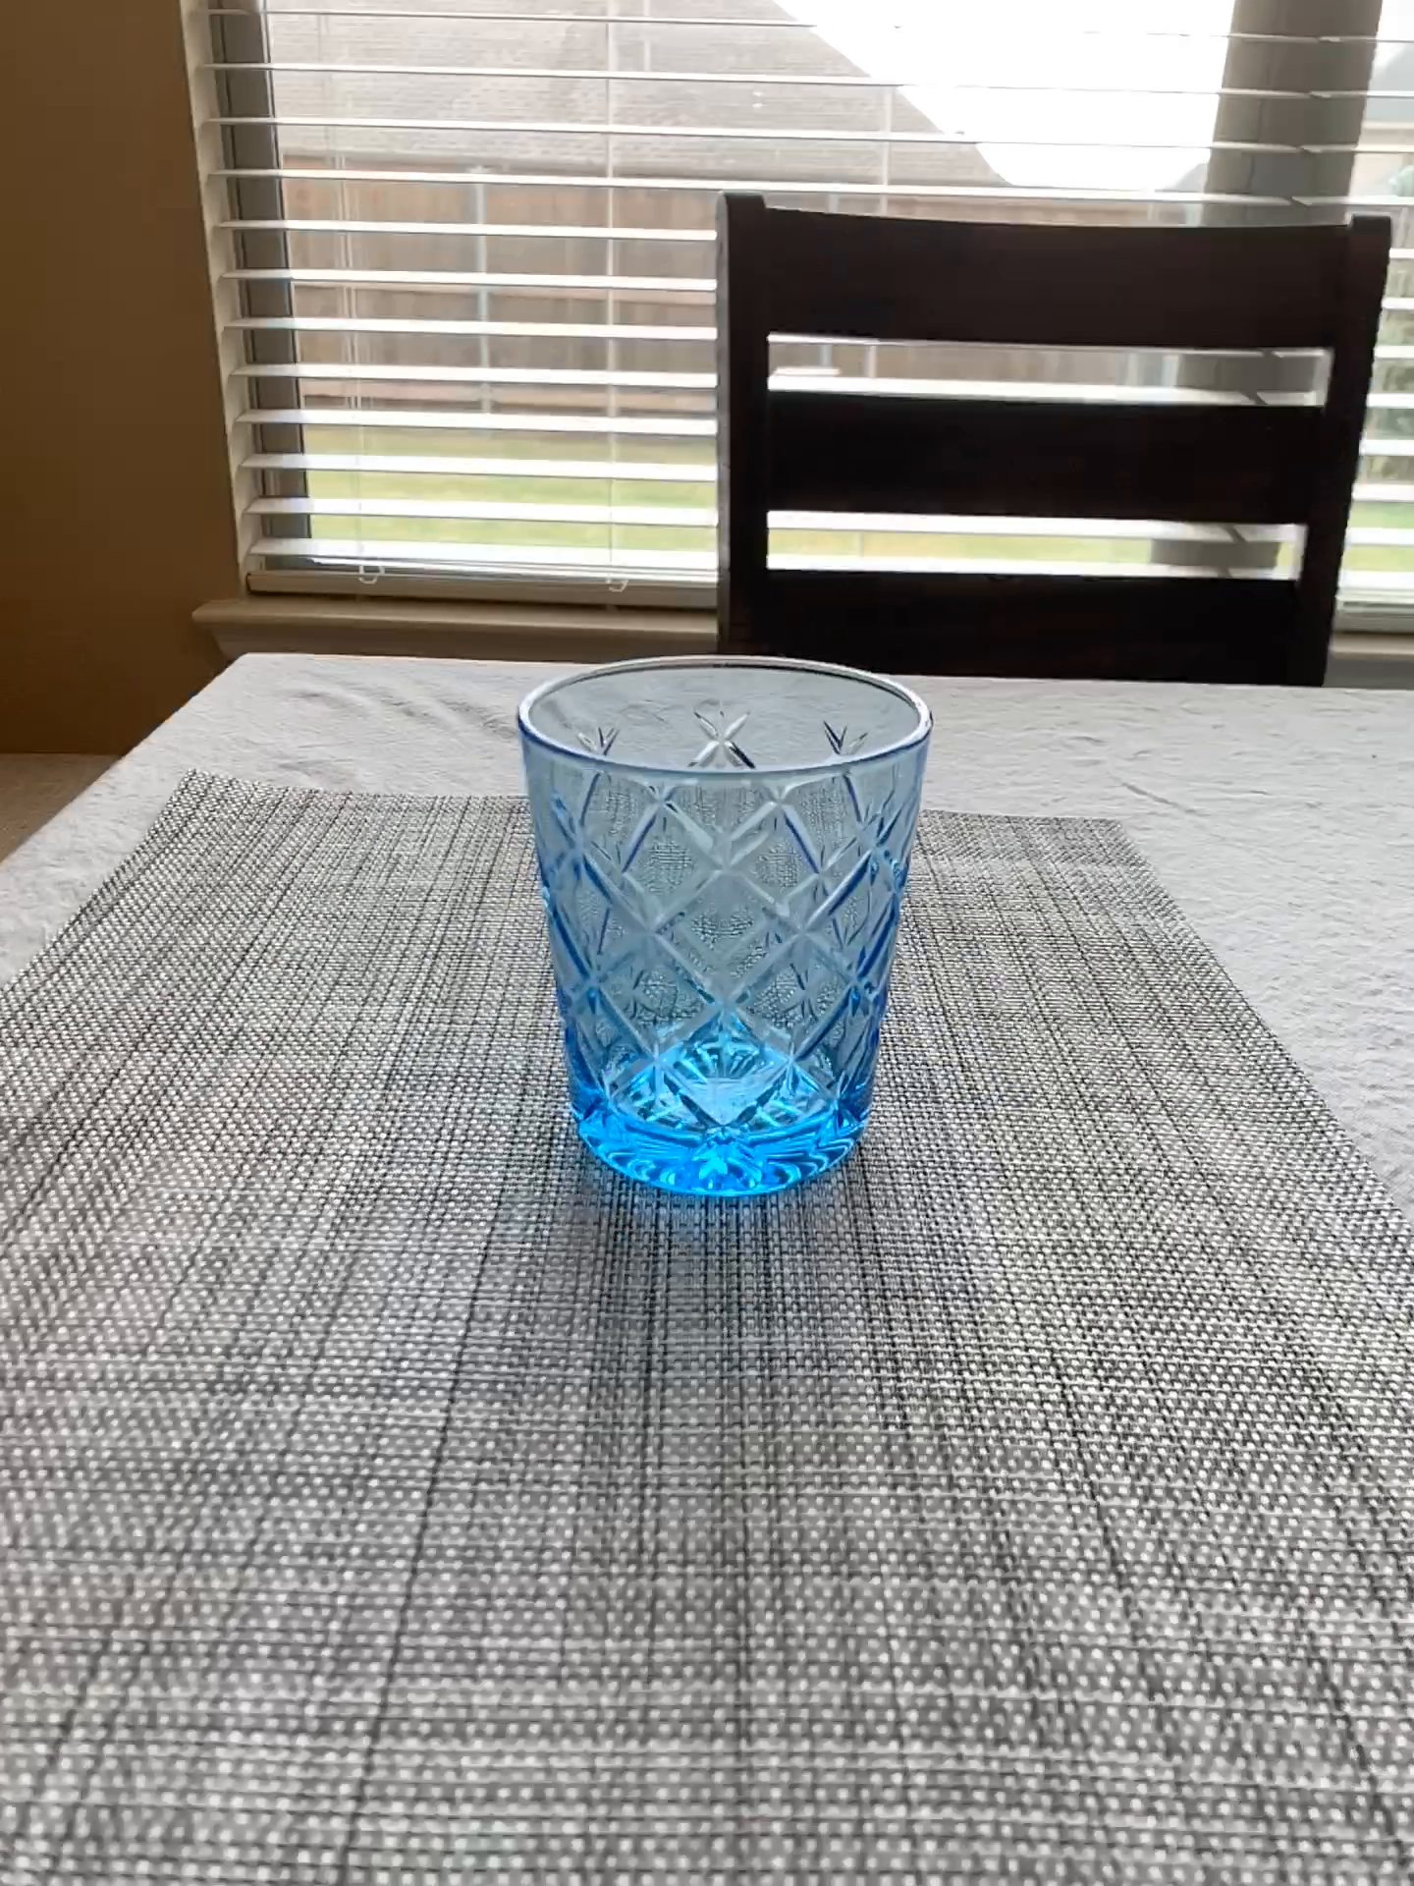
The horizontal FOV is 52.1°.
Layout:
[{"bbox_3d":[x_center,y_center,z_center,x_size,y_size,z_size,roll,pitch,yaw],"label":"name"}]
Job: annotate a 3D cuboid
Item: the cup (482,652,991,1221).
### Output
[{"bbox_3d":[0.006,-0.007,0.308,0.087,0.085,0.093,1,25,-1],"label":"cup"}]
